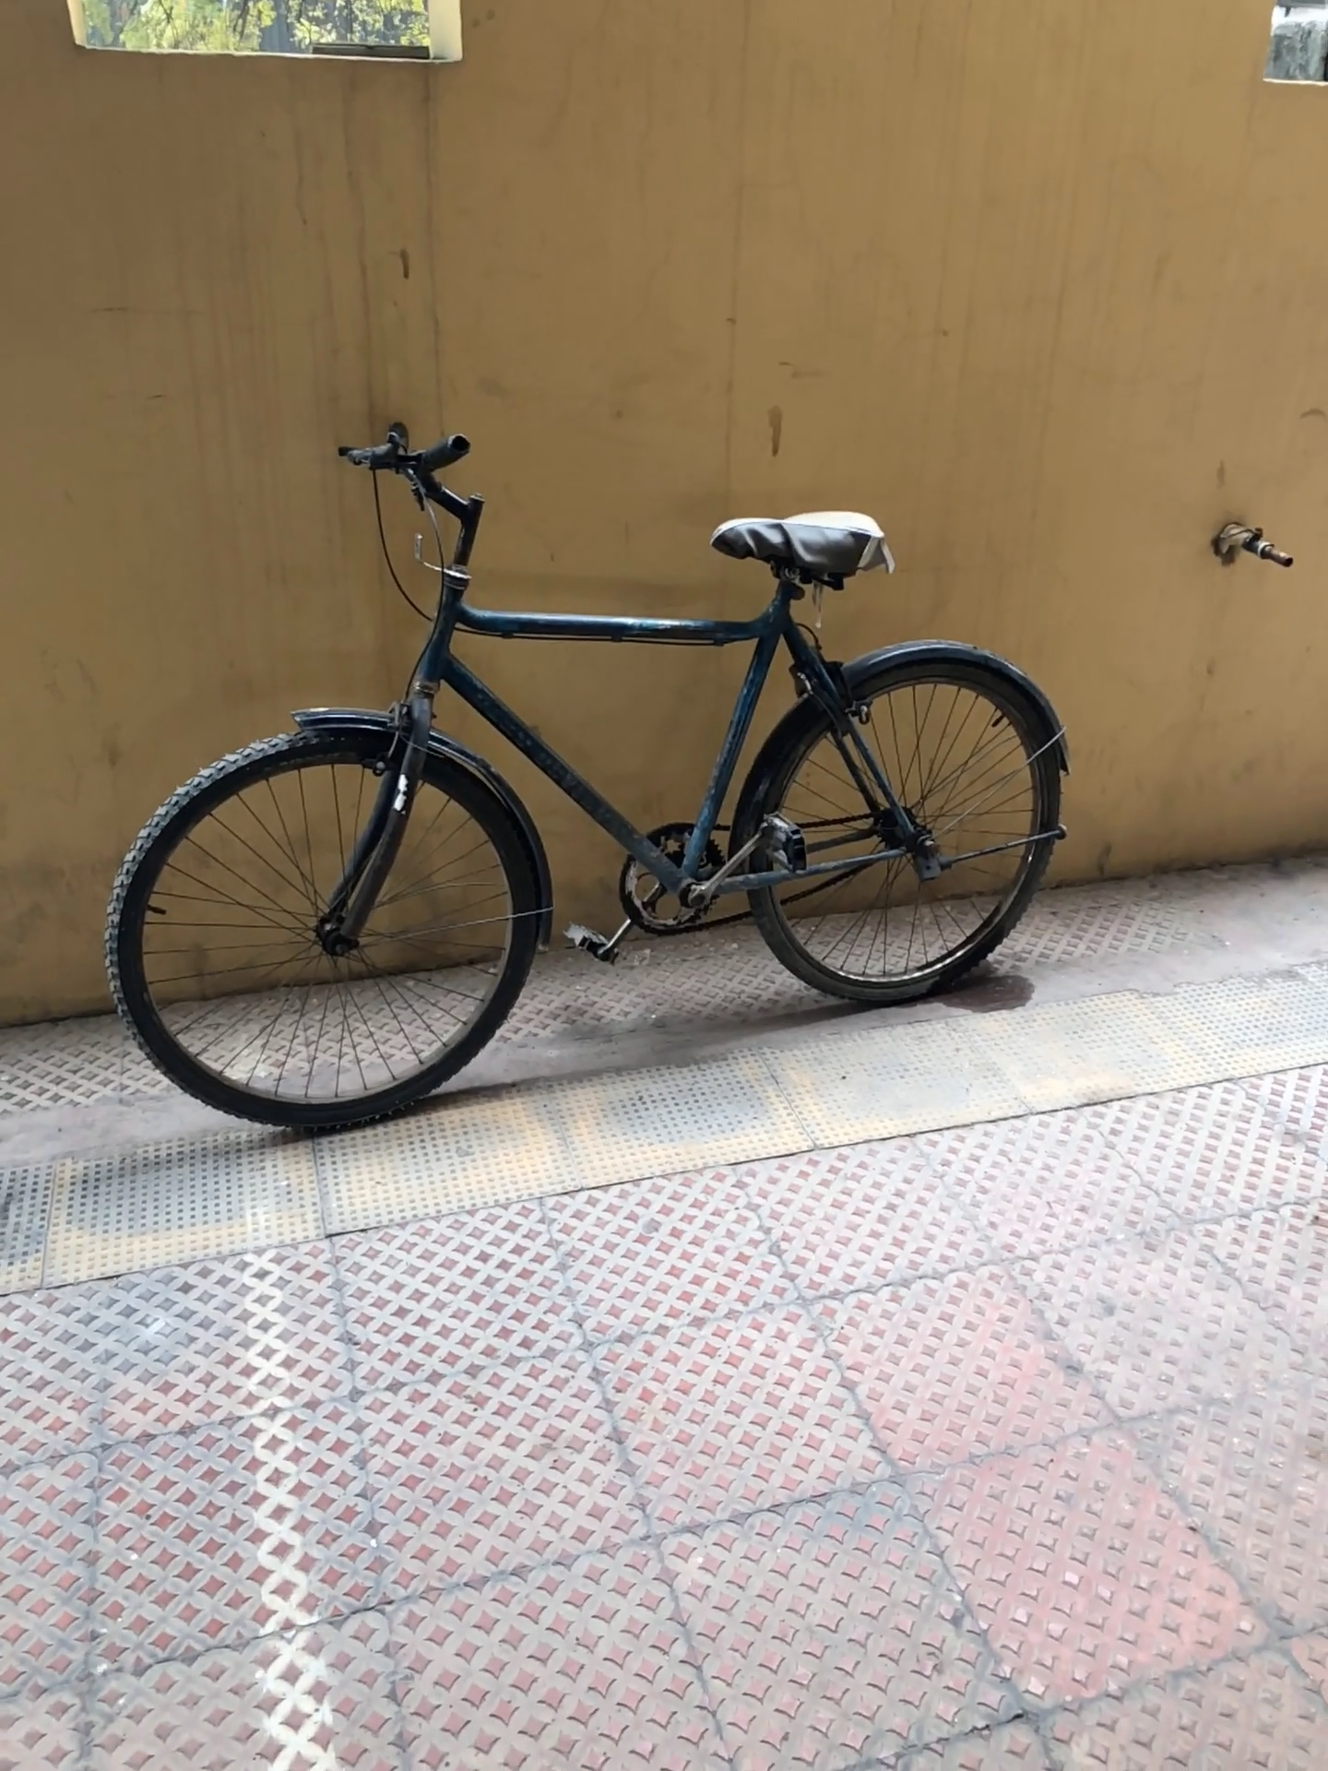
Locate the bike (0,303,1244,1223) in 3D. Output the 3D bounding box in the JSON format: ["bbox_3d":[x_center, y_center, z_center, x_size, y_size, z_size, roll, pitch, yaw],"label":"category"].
[{"bbox_3d":[-0.007,-0.238,2.104,1.546,0.999,0.544,-7,29,-22],"label":"bike"}]
